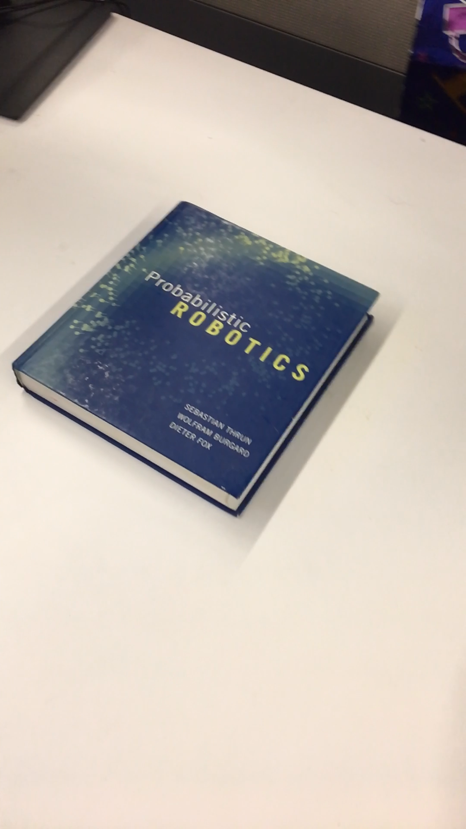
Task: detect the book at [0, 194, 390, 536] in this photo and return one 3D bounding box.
[{"bbox_3d":[-0.025,-0.058,0.563,0.220,0.030,0.240,29,61,14],"label":"book"}]
